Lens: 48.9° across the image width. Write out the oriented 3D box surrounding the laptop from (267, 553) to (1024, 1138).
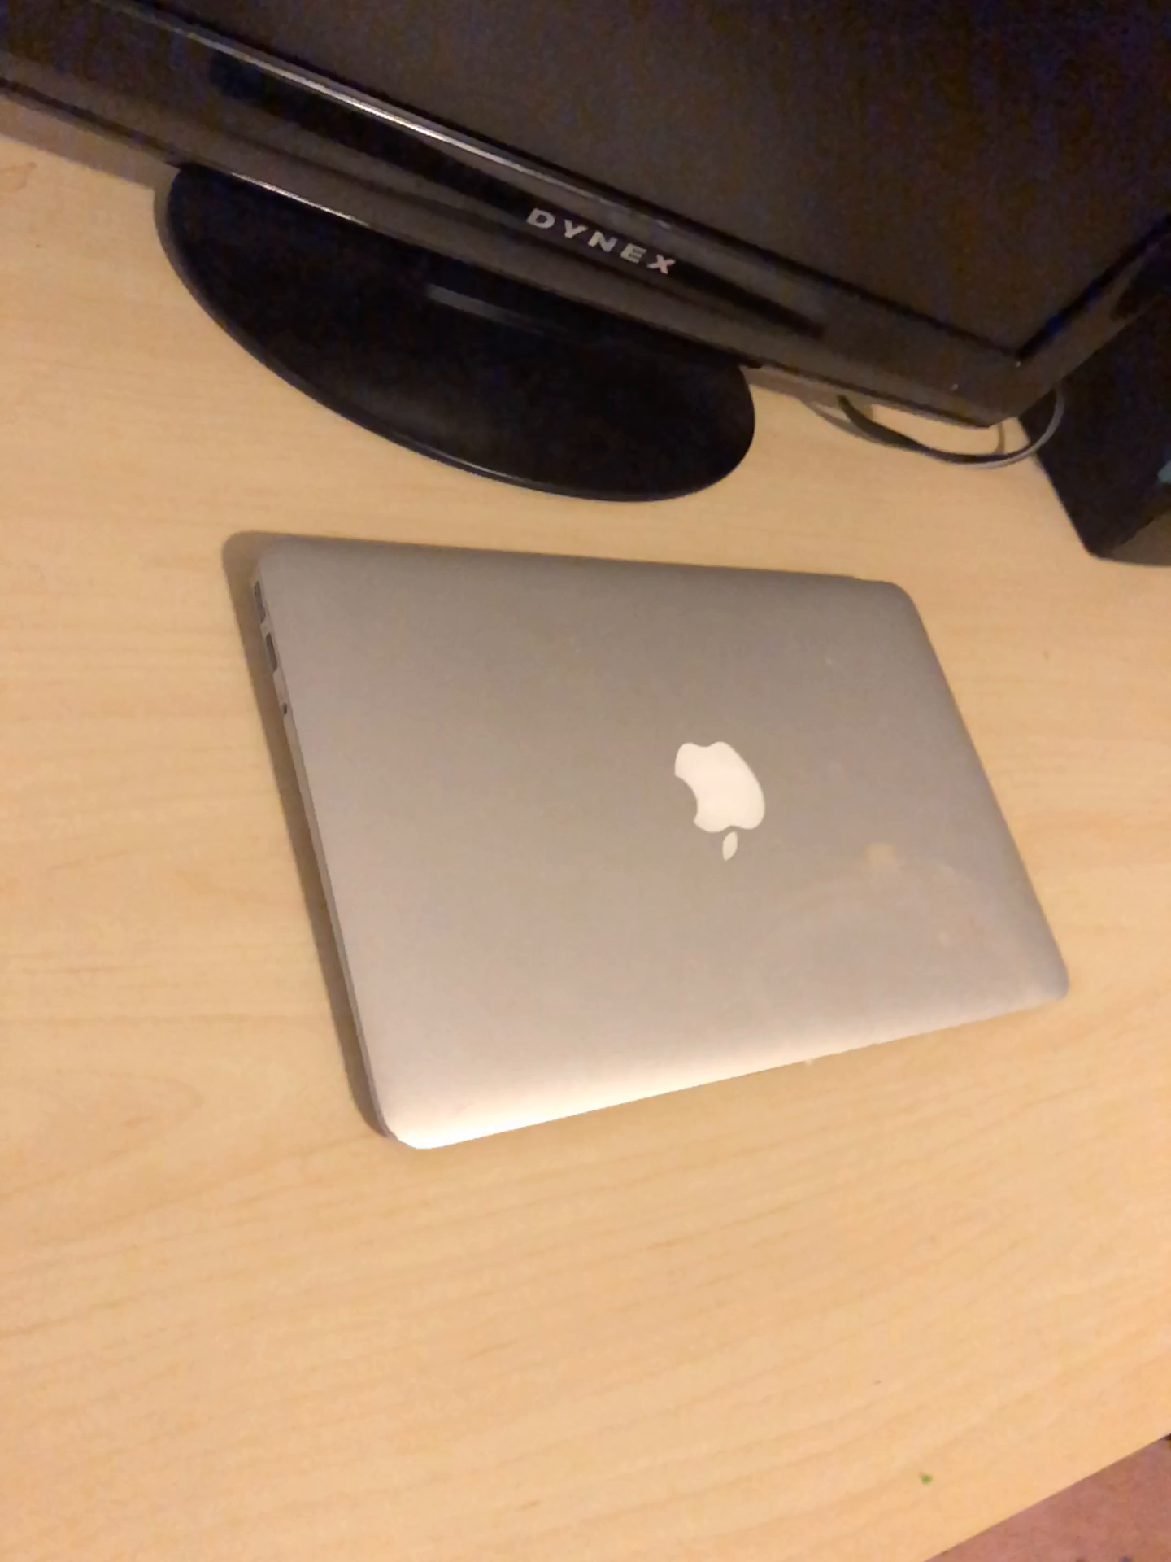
[{"bbox_3d":[0.037,0.006,0.457,0.279,0.005,0.181,-3,67,-37],"label":"laptop"}]
